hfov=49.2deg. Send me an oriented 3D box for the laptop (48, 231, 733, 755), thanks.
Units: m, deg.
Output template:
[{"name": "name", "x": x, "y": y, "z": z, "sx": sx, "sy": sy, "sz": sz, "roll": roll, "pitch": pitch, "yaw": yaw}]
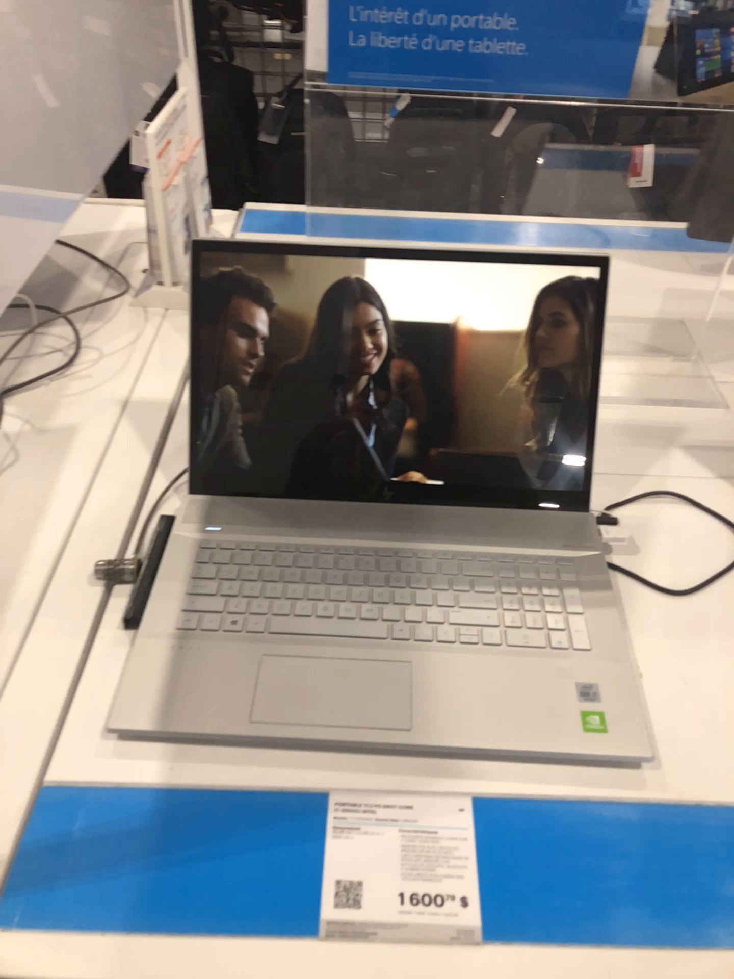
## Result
[{"name": "laptop", "x": 0.017, "y": -0.026, "z": 0.668, "sx": 0.390, "sy": 0.199, "sz": 0.399, "roll": 3, "pitch": 40, "yaw": 0}]
